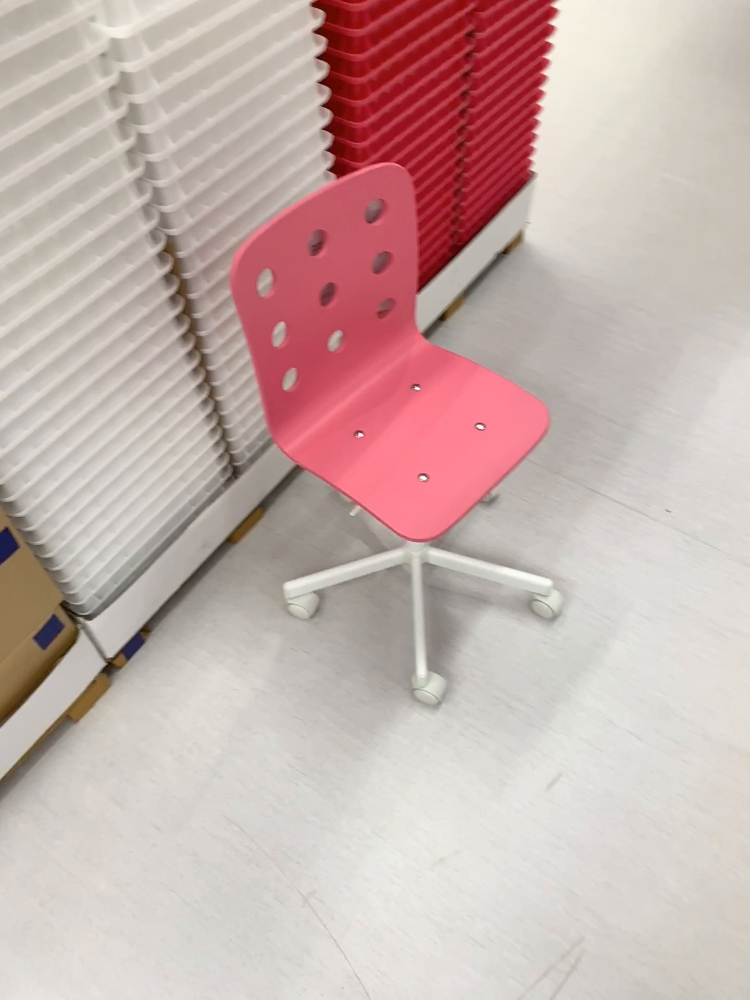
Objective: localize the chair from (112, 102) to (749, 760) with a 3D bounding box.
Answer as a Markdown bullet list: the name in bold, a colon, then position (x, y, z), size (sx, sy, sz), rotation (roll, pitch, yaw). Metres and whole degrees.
- **chair**: position (0.078, -0.091, 1.239), size (0.581, 0.708, 0.551), rotation (34, 61, 23)
